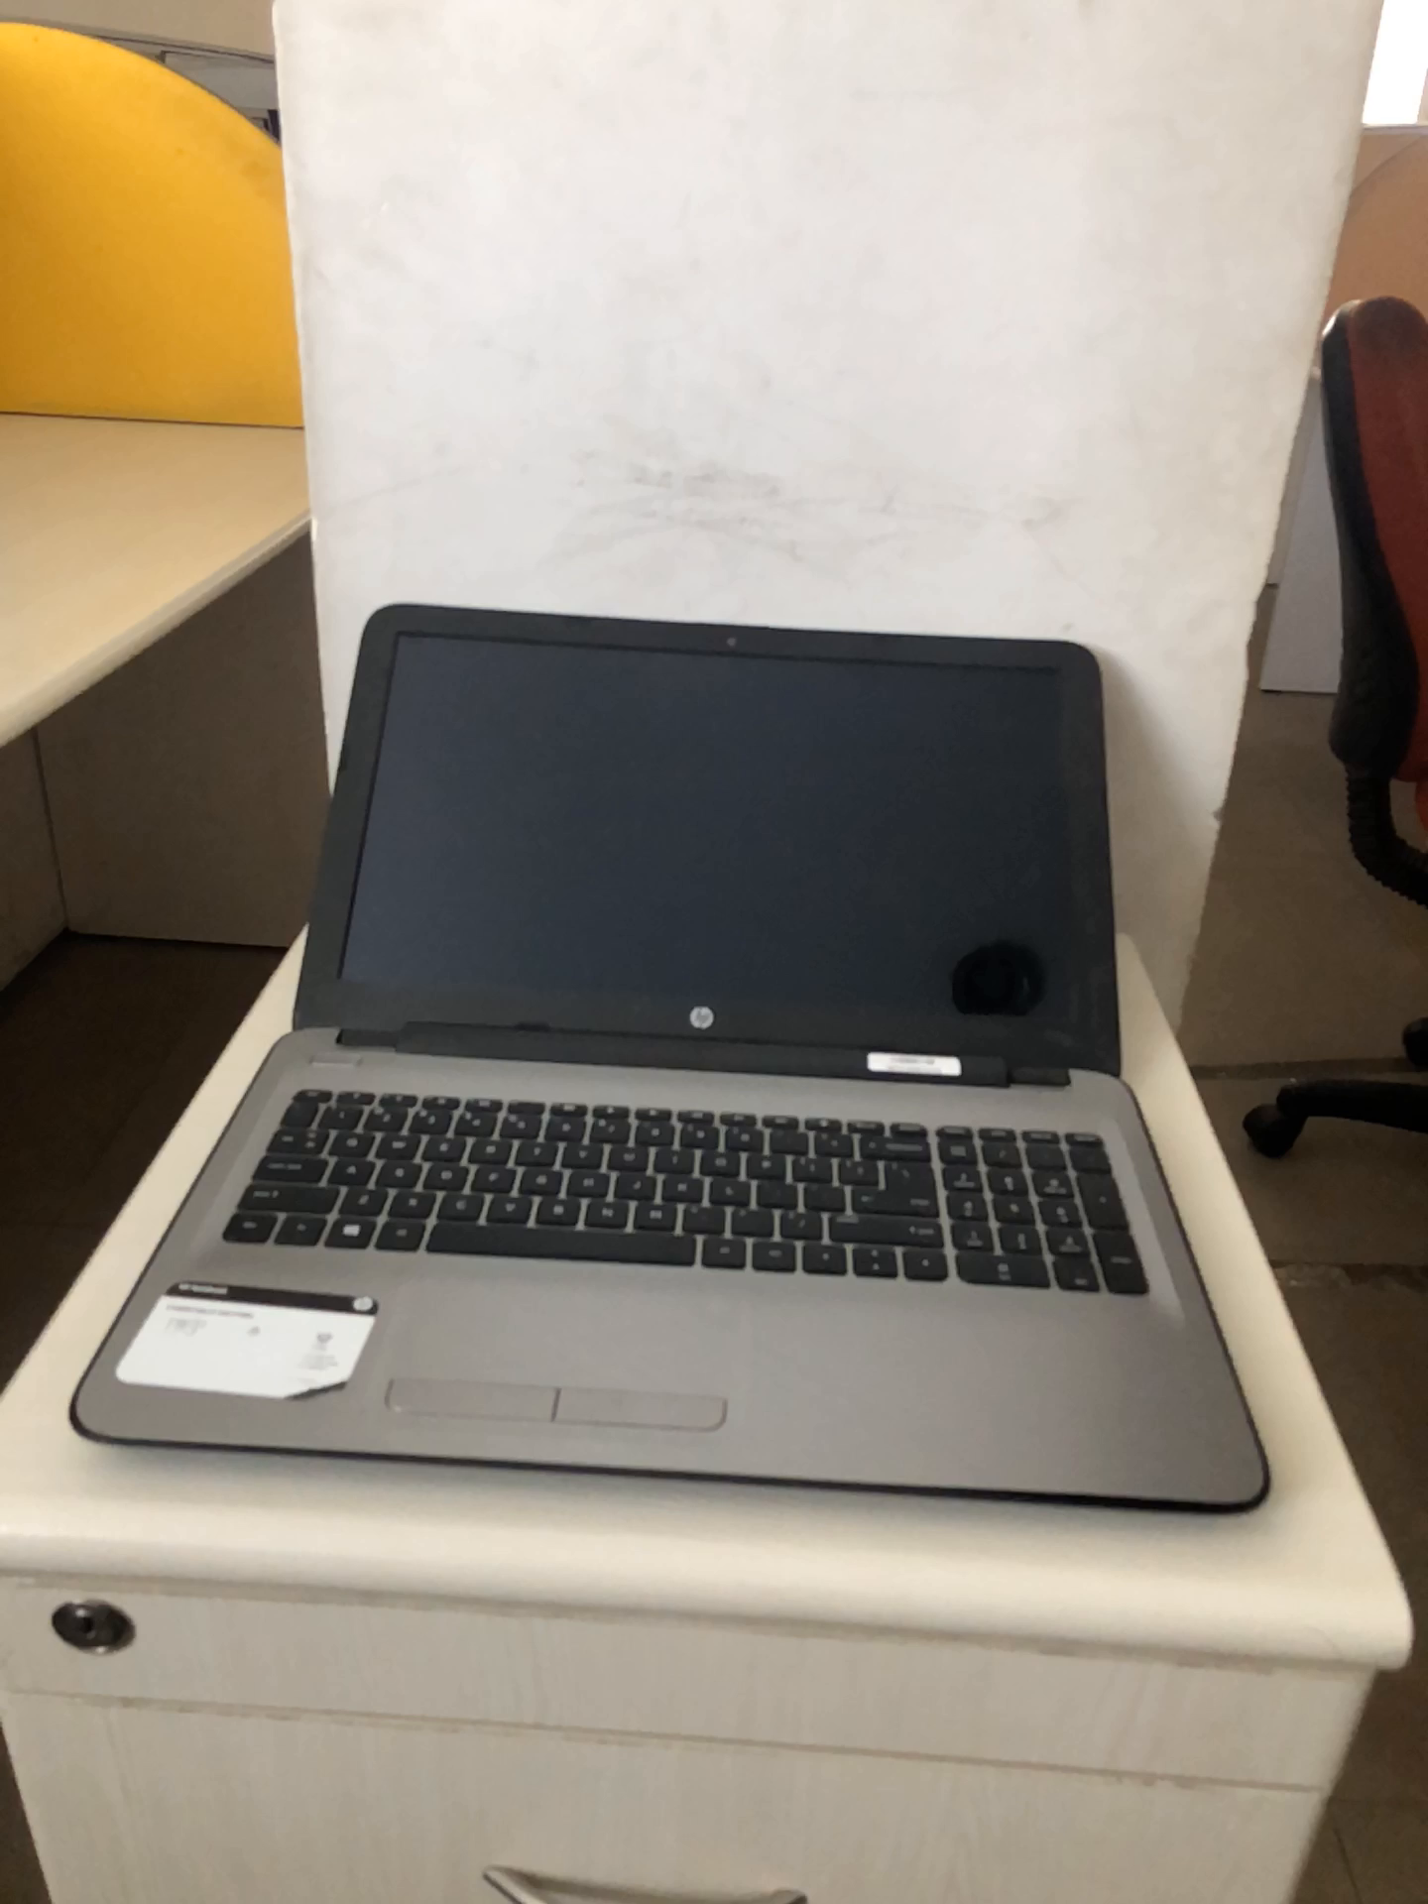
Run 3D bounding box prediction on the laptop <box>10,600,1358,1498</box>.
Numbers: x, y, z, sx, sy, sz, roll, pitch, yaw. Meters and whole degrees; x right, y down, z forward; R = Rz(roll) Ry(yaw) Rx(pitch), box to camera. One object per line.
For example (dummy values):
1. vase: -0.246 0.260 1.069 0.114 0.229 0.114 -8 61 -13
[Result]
1. laptop: -0.003 -0.007 0.634 0.361 0.136 0.428 3 29 1
